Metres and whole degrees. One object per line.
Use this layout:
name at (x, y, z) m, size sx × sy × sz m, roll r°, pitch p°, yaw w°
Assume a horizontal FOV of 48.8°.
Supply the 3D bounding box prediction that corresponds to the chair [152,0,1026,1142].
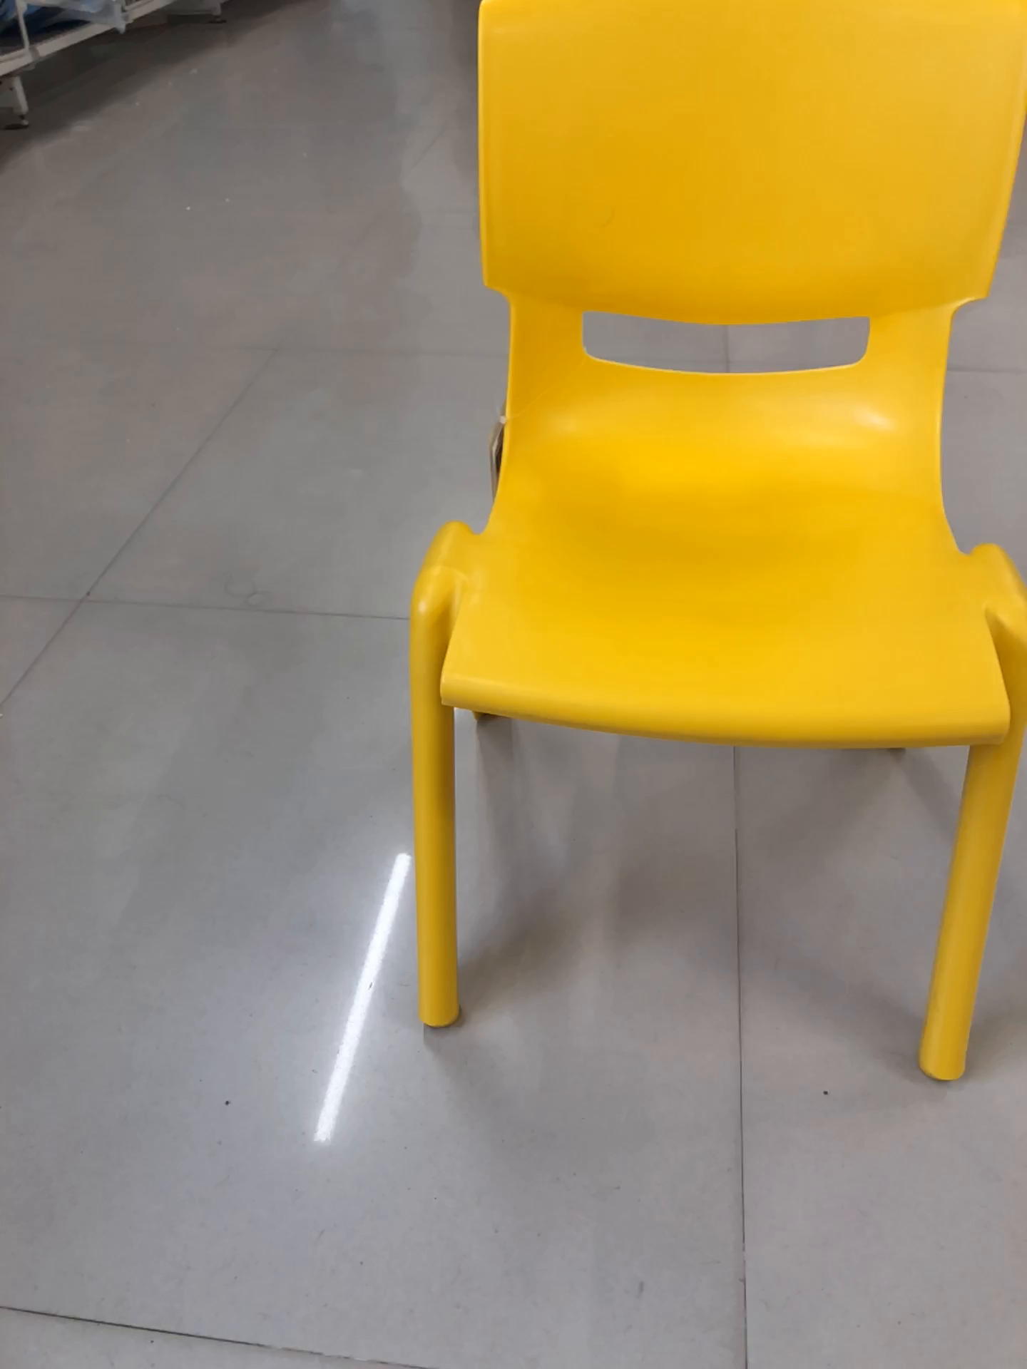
chair at (0.113, -0.097, 0.588) m, size 0.360 × 0.397 × 0.453 m, roll 3°, pitch 39°, yaw 6°
